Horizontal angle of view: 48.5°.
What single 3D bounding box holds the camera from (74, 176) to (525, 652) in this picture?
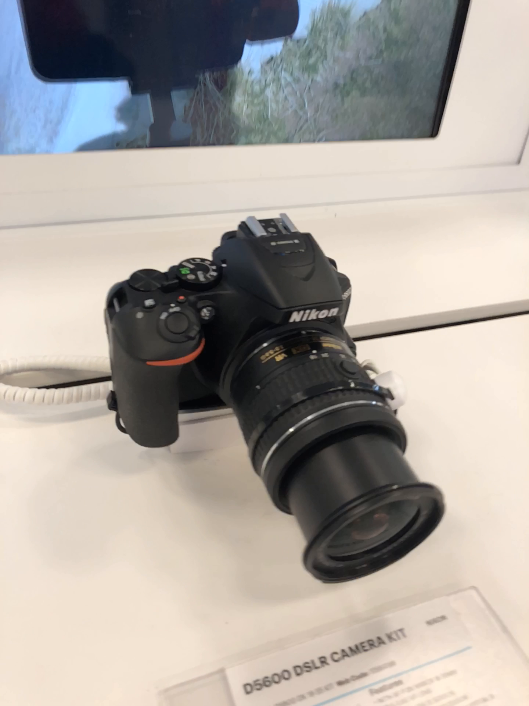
[{"bbox_3d":[-0.007,0.005,0.273,0.120,0.090,0.191,-11,44,-21],"label":"camera"}]
